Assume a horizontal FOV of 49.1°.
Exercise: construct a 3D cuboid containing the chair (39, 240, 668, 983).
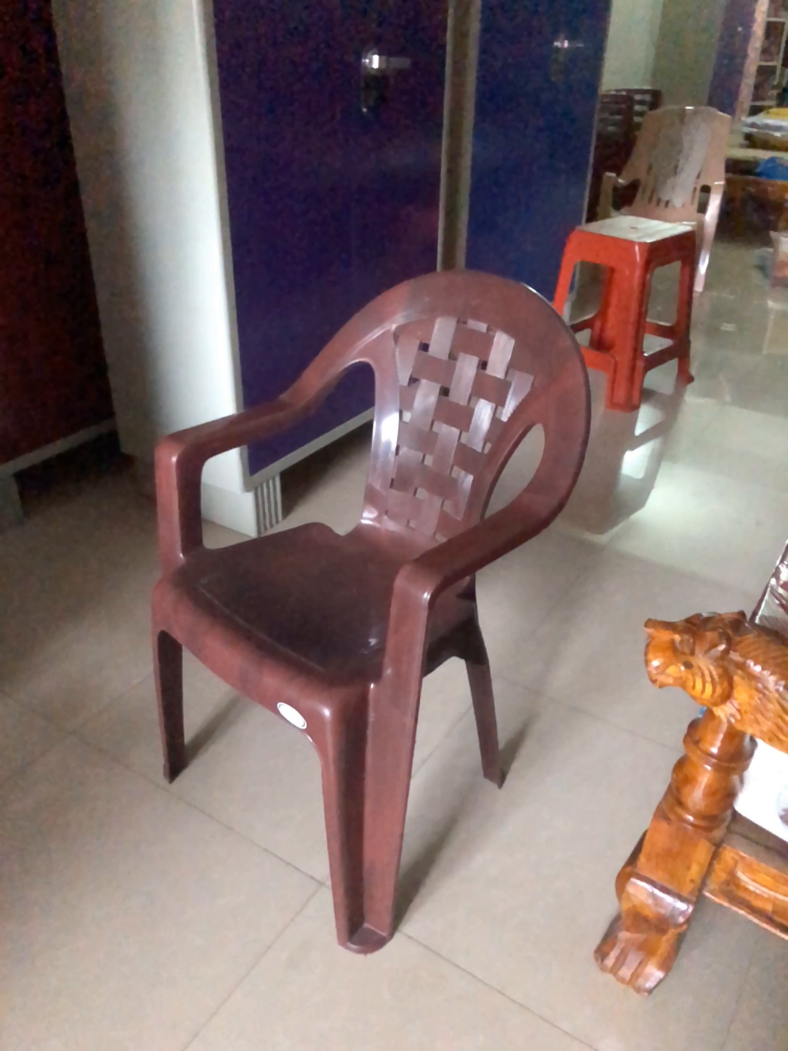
[{"bbox_3d":[-0.049,0.068,1.384,0.600,0.836,0.613,24,38,35],"label":"chair"}]
